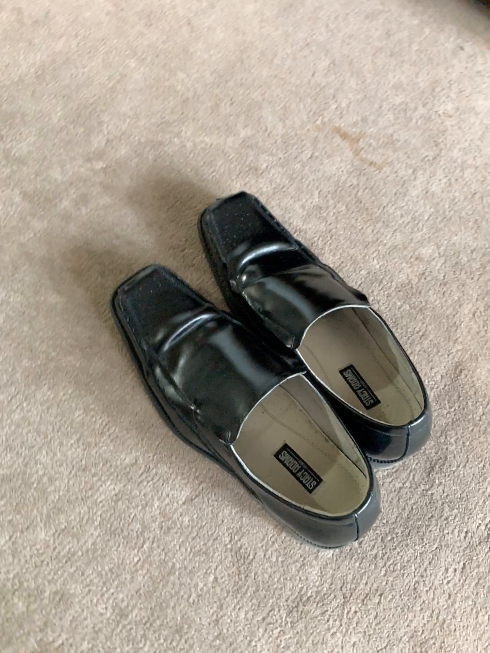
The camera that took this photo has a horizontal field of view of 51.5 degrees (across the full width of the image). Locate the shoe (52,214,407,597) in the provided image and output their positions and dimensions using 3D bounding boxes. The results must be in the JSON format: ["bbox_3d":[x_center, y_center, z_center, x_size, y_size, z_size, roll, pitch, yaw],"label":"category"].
[{"bbox_3d":[-0.024,0.064,0.459,0.110,0.119,0.311,-38,74,-15],"label":"shoe"}]

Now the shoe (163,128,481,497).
[{"bbox_3d":[0.051,-0.016,0.486,0.110,0.119,0.321,-28,71,-12],"label":"shoe"}]
